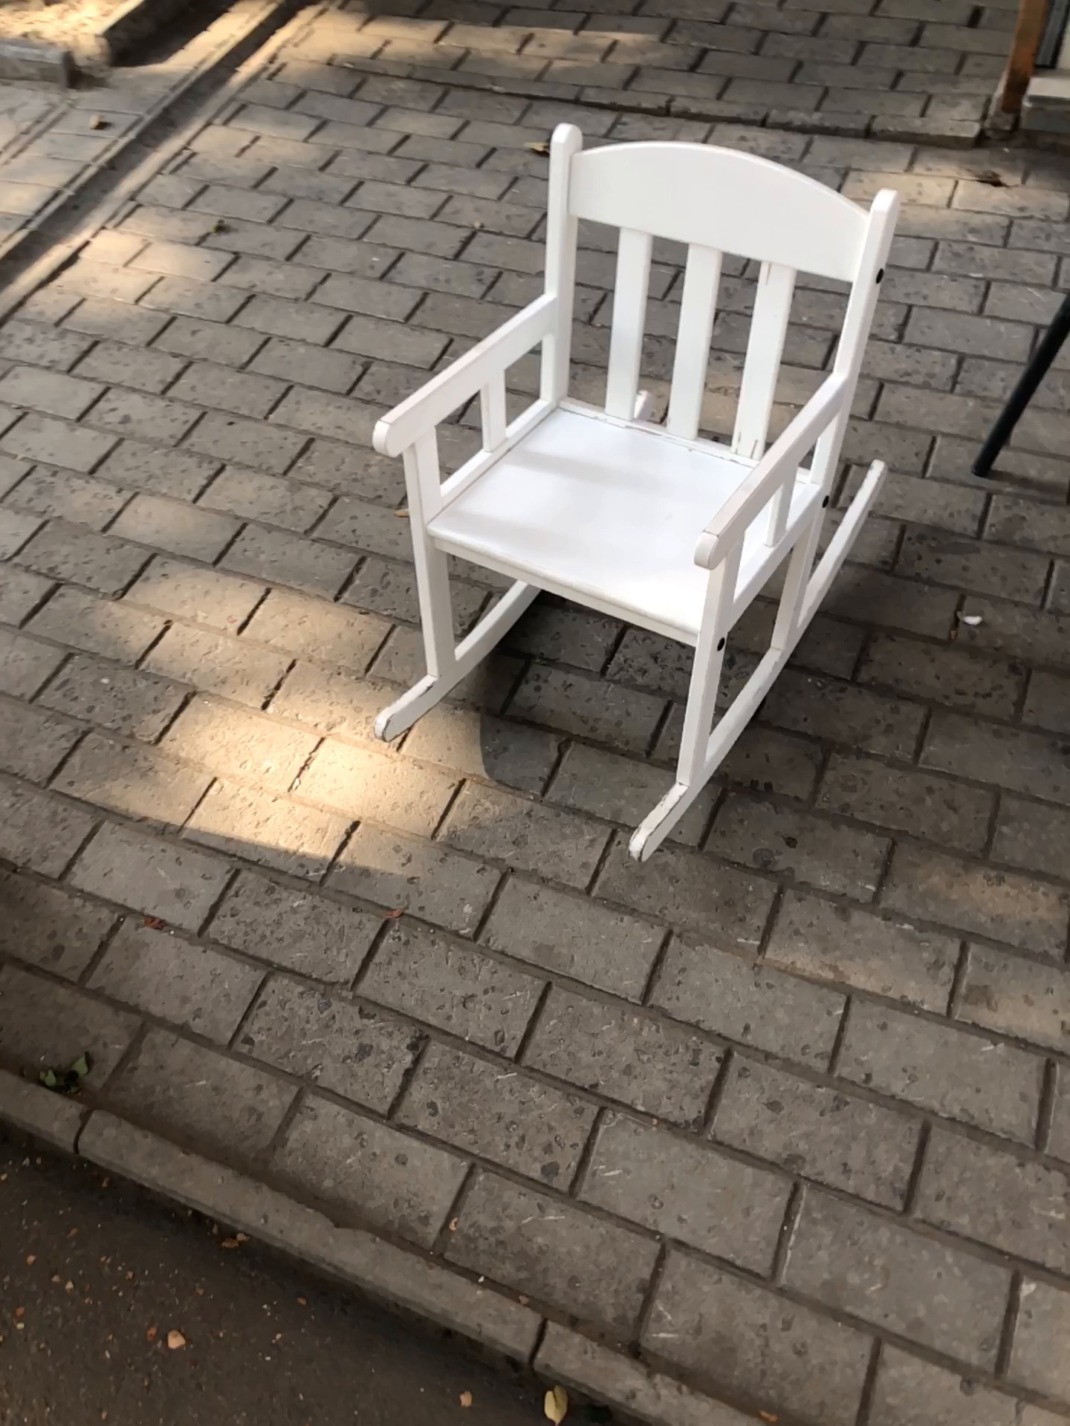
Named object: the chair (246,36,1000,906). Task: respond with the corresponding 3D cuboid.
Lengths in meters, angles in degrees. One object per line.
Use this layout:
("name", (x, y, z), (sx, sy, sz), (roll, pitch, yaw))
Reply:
("chair", (0.136, -0.284, 1.268), (0.380, 0.518, 0.732), (23, 57, 22))
